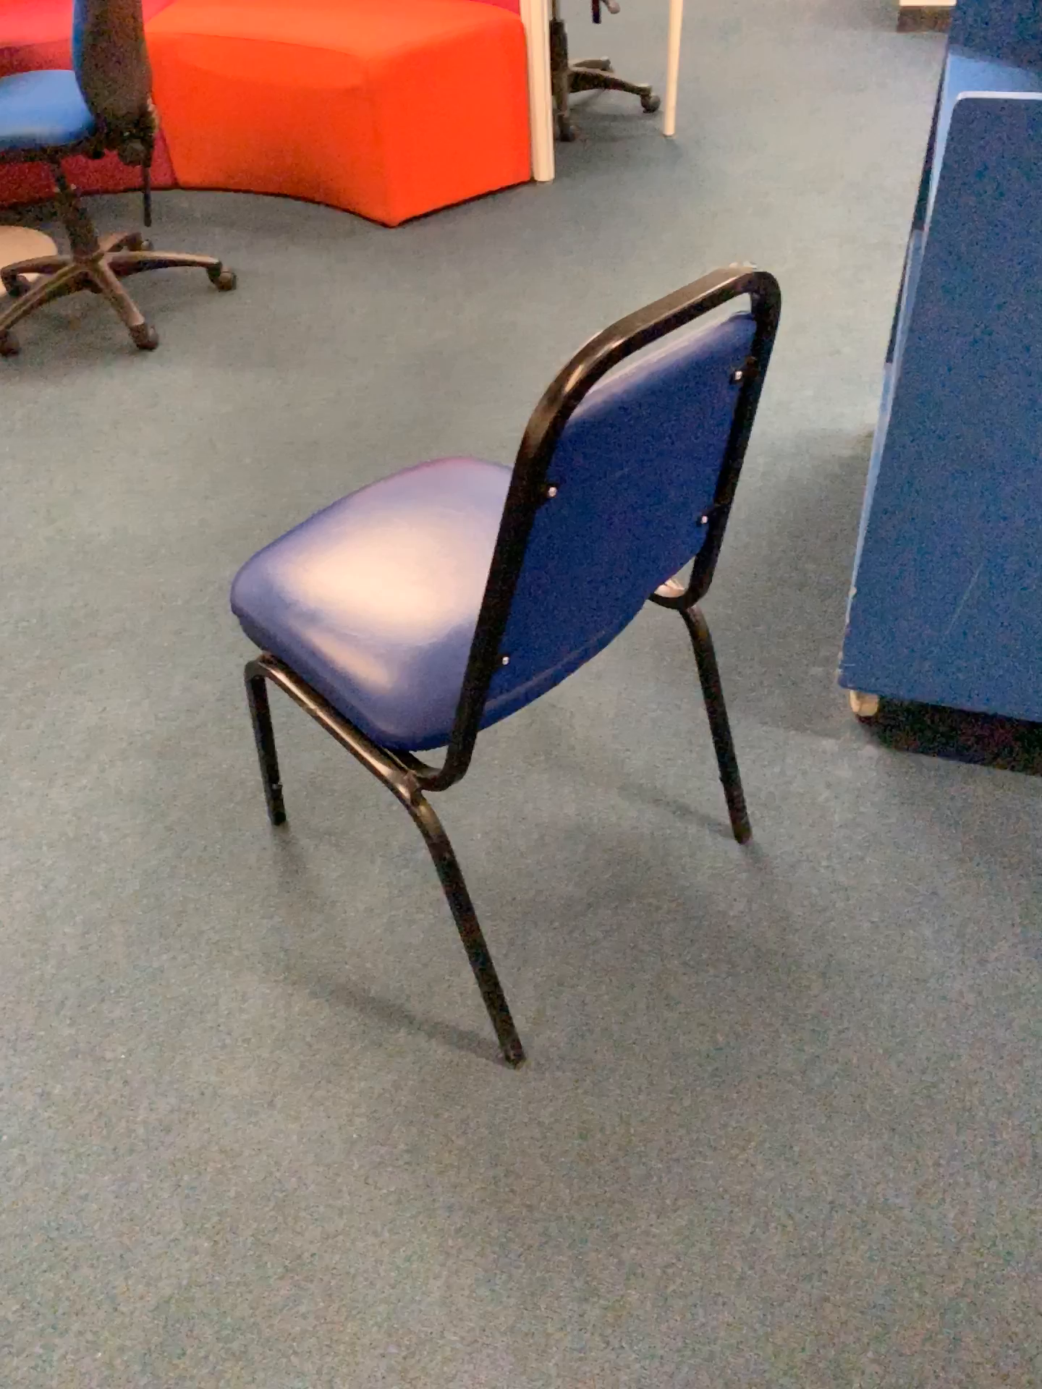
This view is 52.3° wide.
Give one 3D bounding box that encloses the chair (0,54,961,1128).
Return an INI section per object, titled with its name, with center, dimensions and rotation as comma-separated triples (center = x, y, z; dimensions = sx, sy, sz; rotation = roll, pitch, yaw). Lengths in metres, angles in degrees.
[chair]
center = -0.025, -0.105, 1.189
dimensions = 0.562, 0.882, 0.583
rotation = -34, 52, -26
